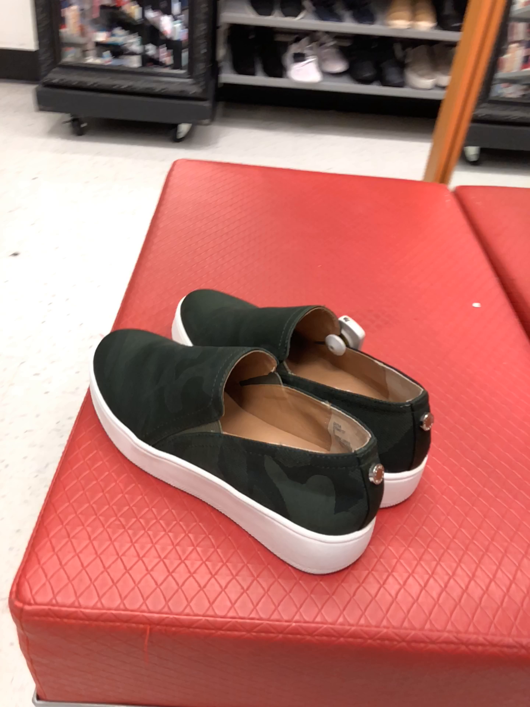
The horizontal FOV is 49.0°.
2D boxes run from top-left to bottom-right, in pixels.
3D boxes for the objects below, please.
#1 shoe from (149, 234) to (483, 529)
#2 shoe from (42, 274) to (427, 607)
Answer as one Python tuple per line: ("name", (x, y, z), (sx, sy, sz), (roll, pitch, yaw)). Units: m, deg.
("shoe", (0.023, 0.006, 0.457), (0.250, 0.090, 0.088), (34, 47, 31))
("shoe", (-0.030, 0.045, 0.402), (0.244, 0.090, 0.091), (27, 43, 25))
